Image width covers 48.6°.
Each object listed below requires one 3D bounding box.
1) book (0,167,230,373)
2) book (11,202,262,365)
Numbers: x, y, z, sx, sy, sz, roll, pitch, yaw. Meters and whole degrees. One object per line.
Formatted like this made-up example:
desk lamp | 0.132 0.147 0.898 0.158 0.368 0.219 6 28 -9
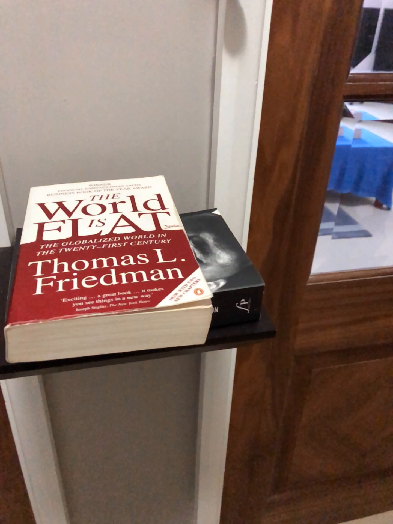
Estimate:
book | -0.070 -0.014 0.355 0.140 0.040 0.212 -7 34 -10
book | -0.063 0.006 0.409 0.200 0.040 0.151 -7 41 -18
